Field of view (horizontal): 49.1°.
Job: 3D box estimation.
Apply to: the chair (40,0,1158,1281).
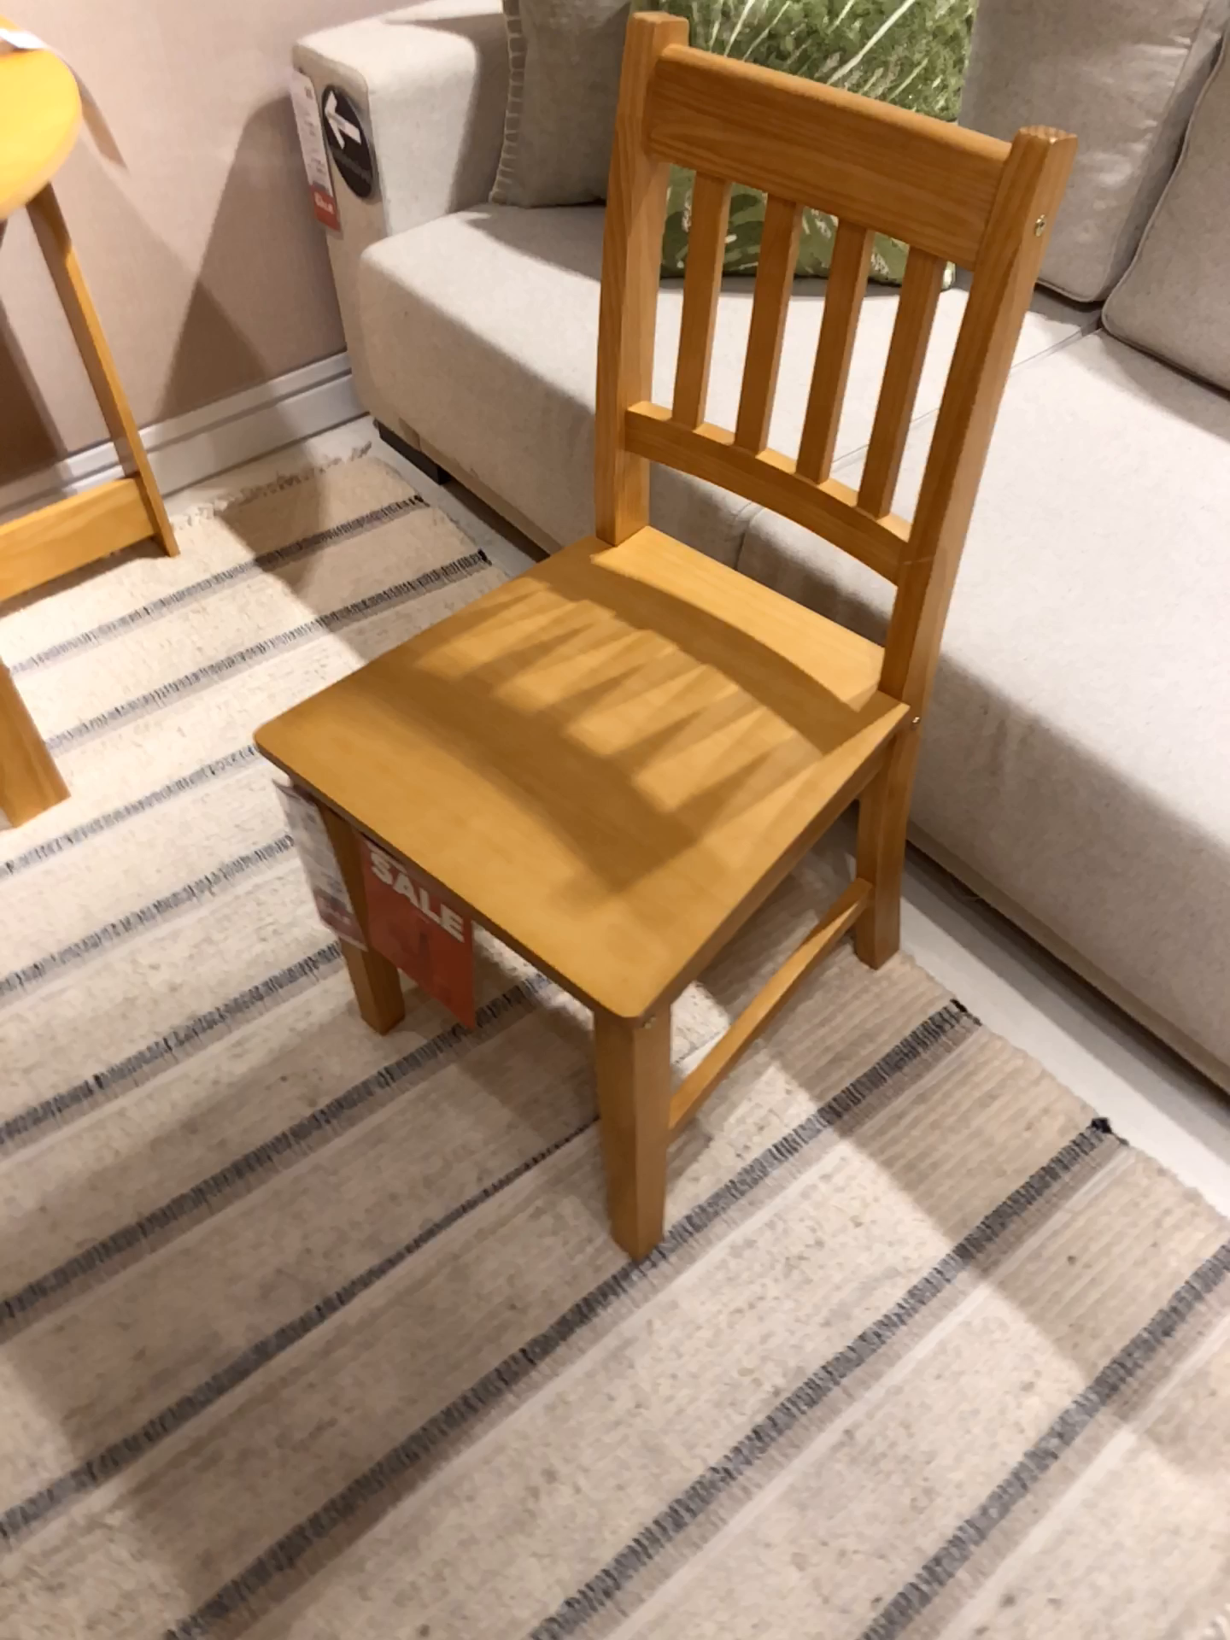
[{"bbox_3d":[0.009,-0.119,1.134,0.461,0.814,0.522,33,57,27],"label":"chair"}]
